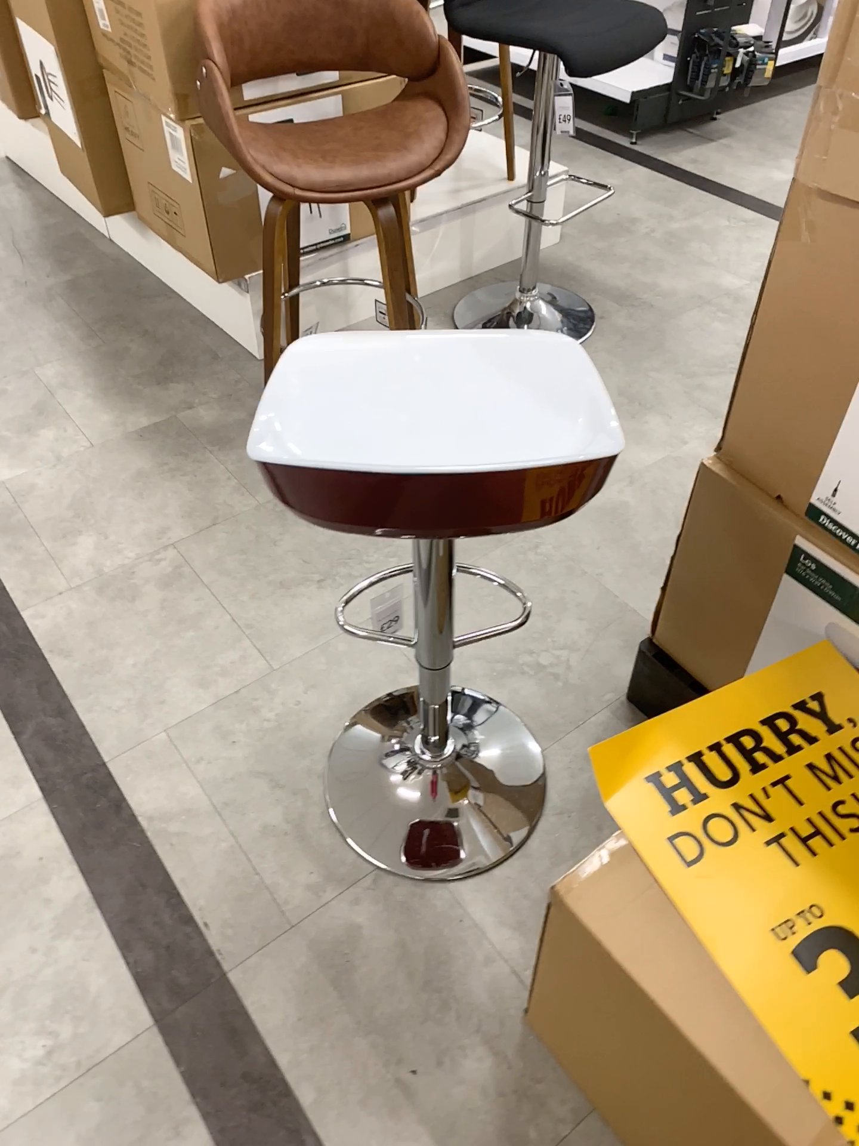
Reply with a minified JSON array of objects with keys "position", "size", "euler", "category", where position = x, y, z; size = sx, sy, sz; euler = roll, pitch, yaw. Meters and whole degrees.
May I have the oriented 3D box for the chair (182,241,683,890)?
[{"position":[-0.001,0.033,1.192],"size":[0.435,0.792,0.438],"euler":[-1,44,-1],"category":"chair"}]
